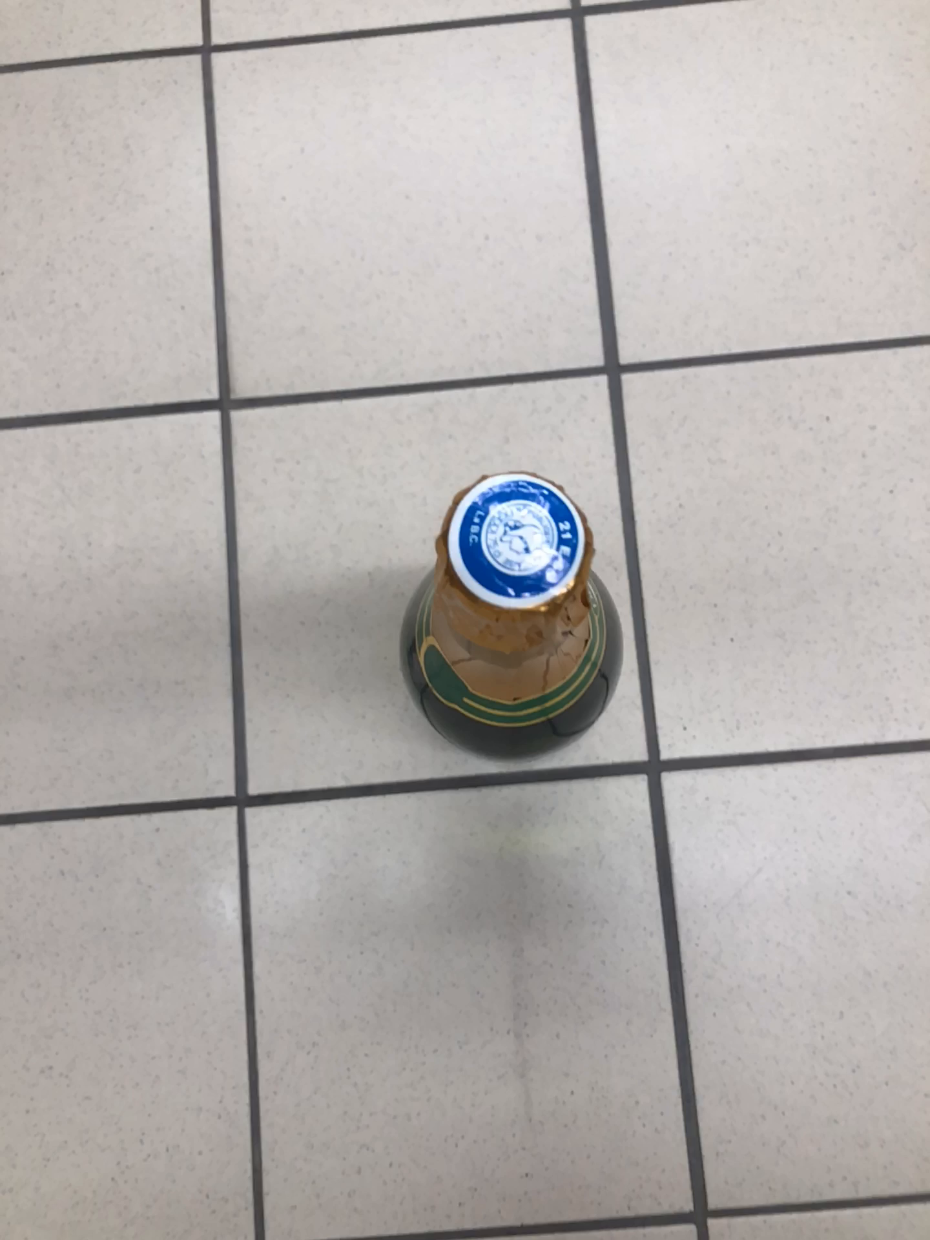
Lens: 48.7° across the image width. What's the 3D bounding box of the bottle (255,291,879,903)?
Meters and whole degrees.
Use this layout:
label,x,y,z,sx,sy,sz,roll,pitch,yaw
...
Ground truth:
label,x,y,z,sx,sy,sz,roll,pitch,yaw
bottle,0.026,0.016,0.358,0.090,0.300,0.090,0,81,3
